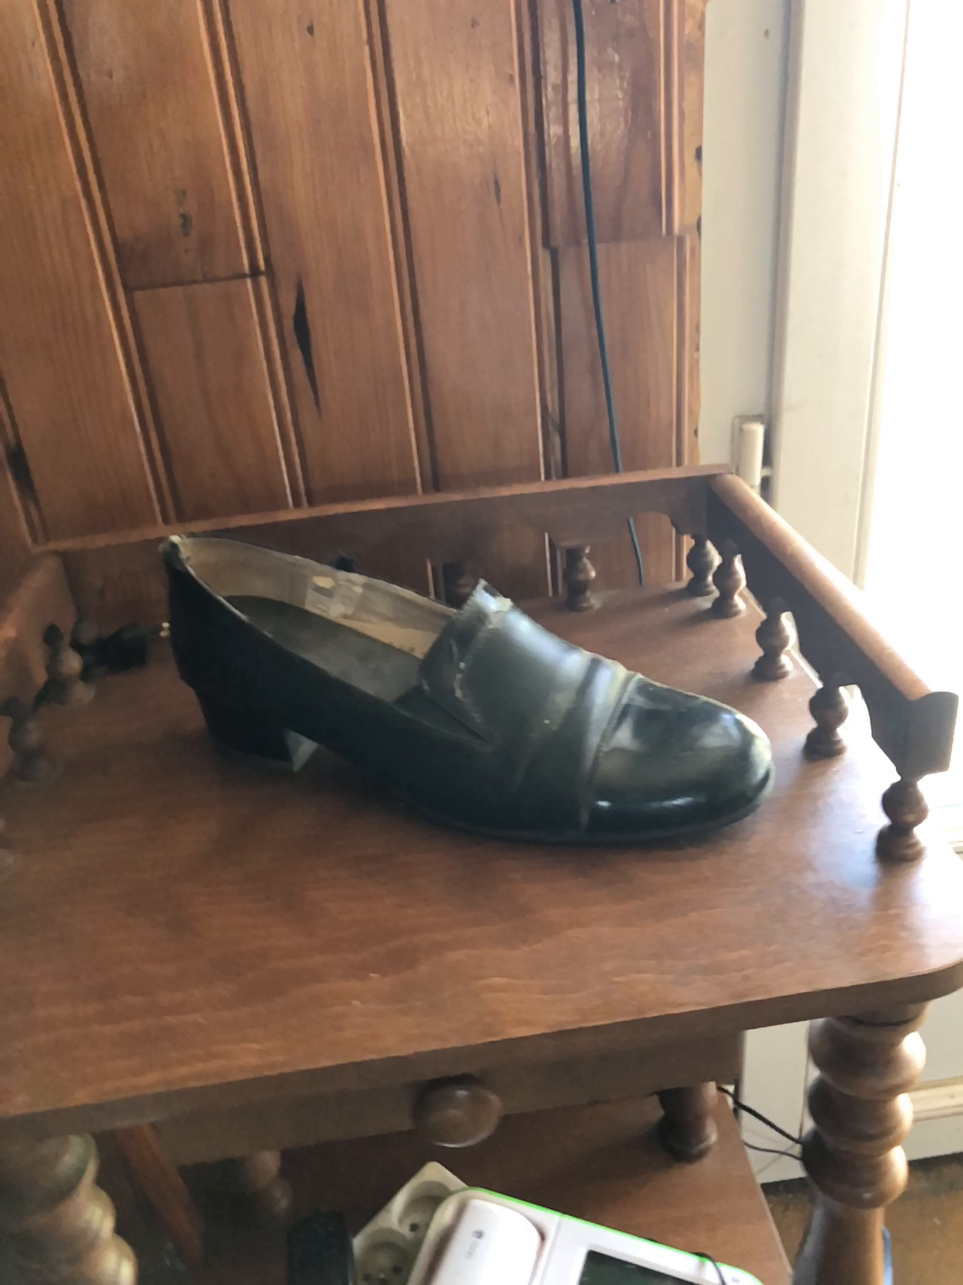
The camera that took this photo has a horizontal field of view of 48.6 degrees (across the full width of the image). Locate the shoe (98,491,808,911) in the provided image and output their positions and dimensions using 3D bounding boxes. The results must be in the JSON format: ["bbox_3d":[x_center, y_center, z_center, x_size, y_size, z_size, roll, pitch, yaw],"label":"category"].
[{"bbox_3d":[-0.013,0.009,0.434,0.260,0.089,0.101,9,31,25],"label":"shoe"}]
